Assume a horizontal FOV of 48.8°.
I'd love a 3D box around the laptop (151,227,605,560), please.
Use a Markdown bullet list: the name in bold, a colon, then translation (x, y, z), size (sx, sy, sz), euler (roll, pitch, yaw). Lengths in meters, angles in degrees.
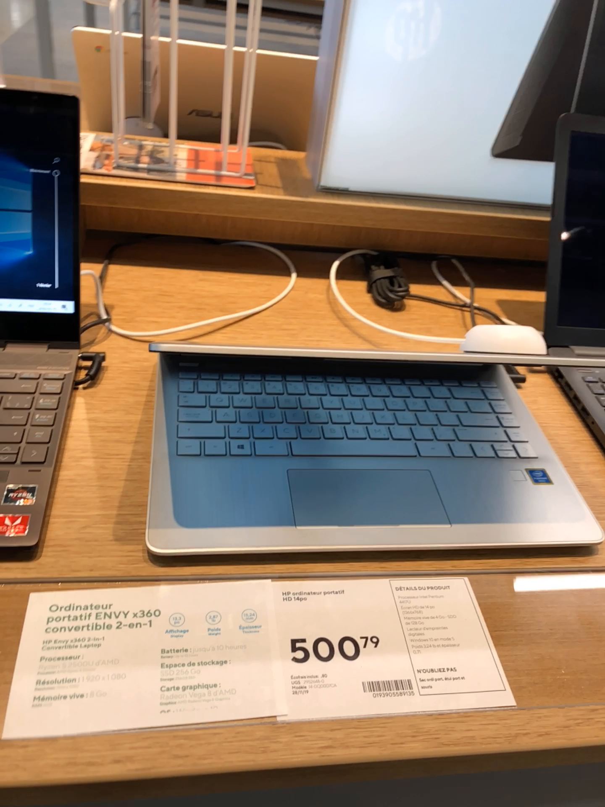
- **laptop**: translation (0.056, -0.016, 0.485), size (0.314, 0.110, 0.217), euler (1, 40, -10)
